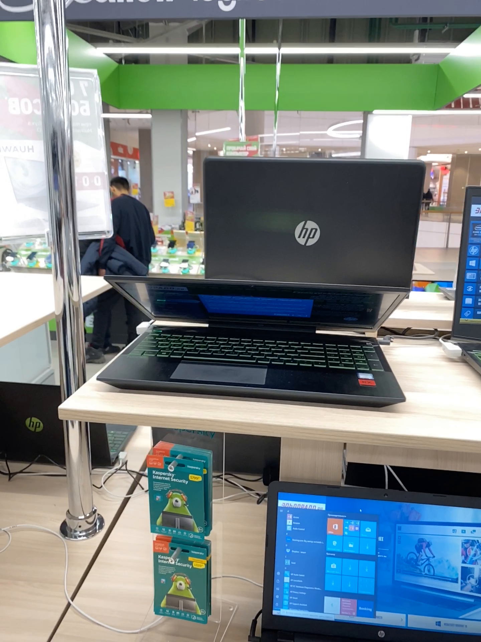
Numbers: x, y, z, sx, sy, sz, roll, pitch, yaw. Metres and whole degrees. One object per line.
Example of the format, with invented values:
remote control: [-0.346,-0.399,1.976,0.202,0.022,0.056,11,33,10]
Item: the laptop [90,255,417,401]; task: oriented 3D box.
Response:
laptop: [0.020,-0.009,0.674,0.365,0.115,0.244,4,15,6]
